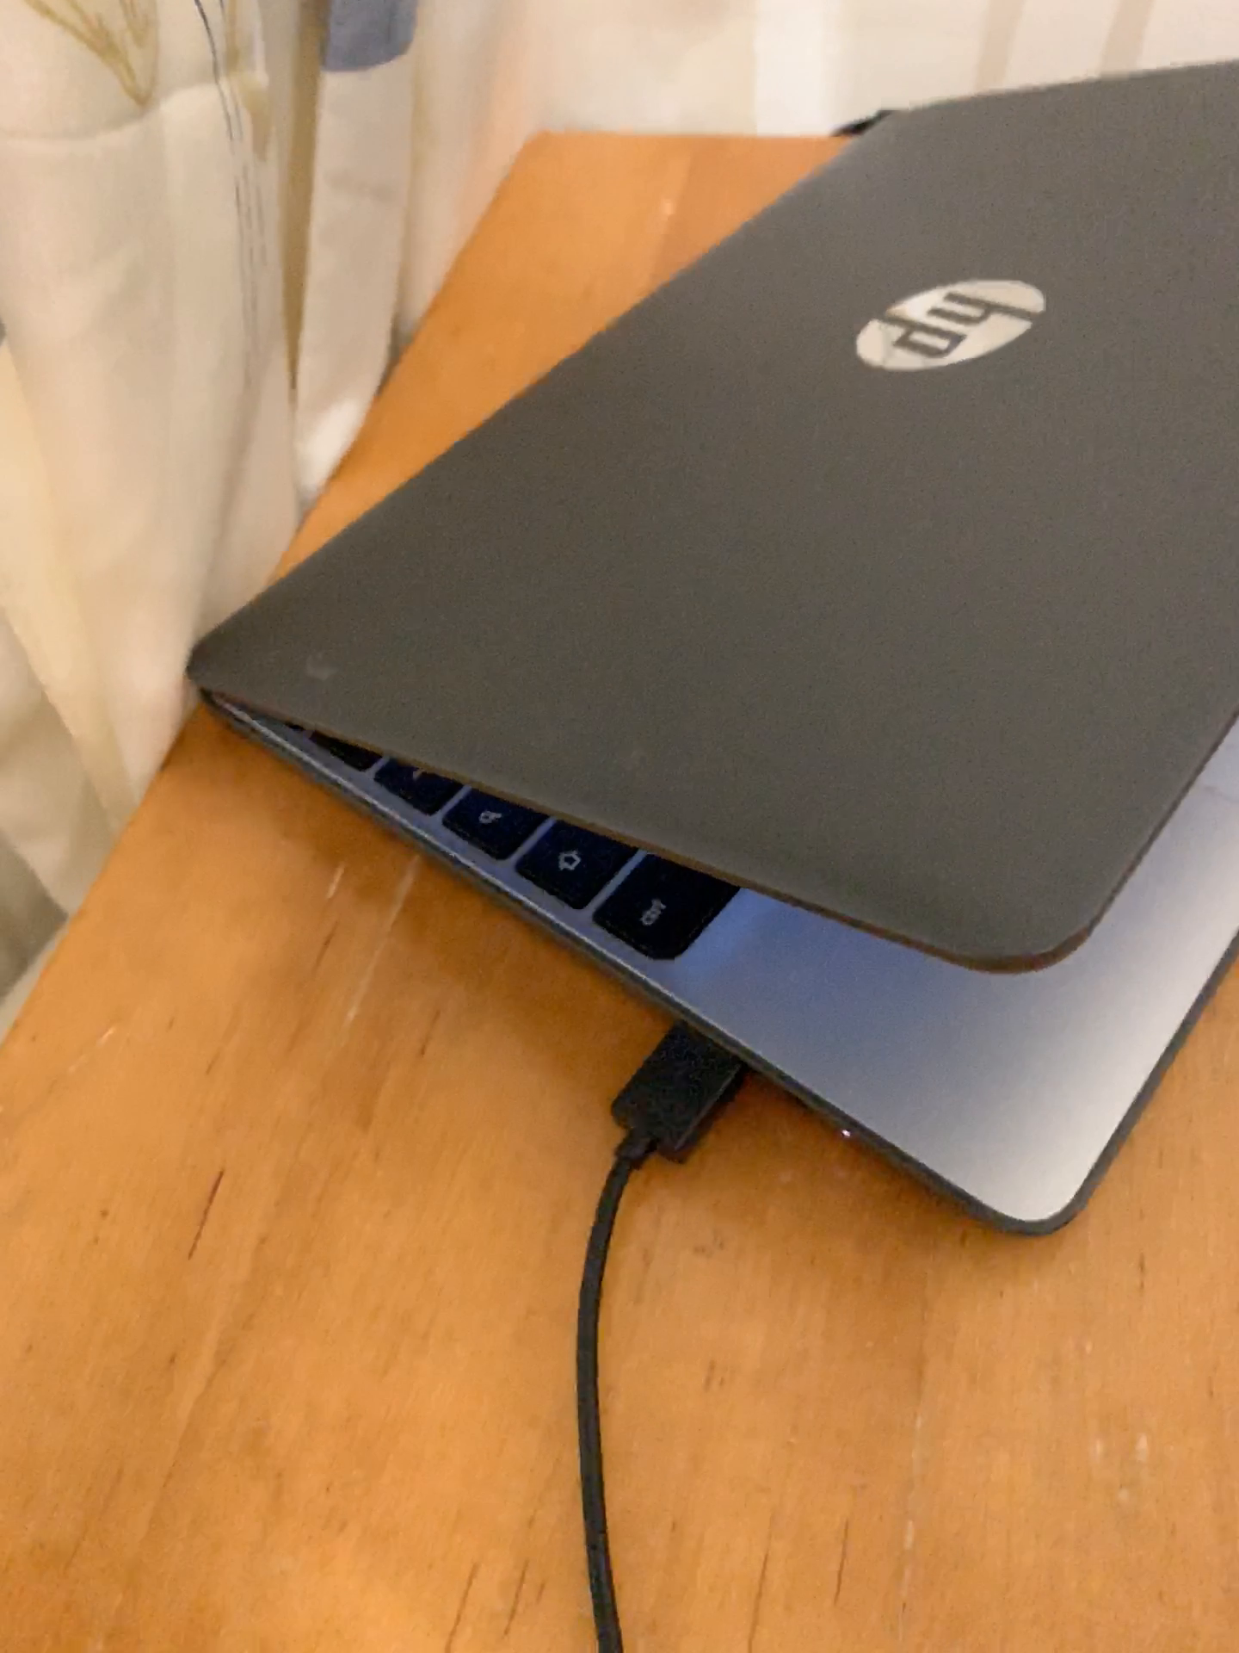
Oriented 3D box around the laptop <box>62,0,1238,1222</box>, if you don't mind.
[{"bbox_3d":[0.067,-0.093,0.261,0.191,0.066,0.269,30,60,26],"label":"laptop"}]
